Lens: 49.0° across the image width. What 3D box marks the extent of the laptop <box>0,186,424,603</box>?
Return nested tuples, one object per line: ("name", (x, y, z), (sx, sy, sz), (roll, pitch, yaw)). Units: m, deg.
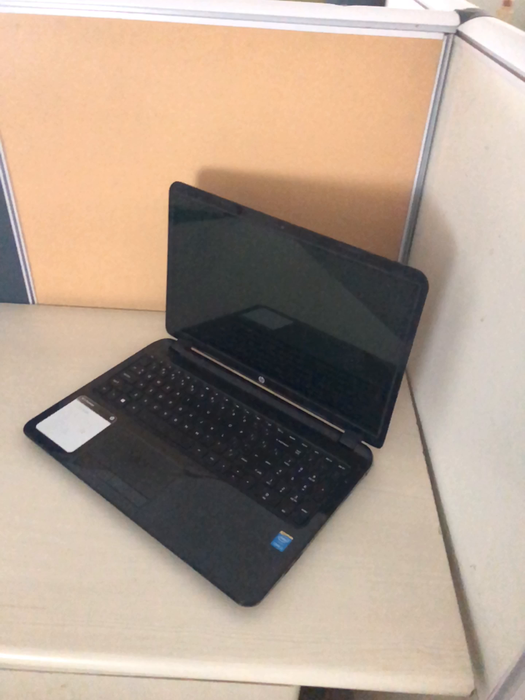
("laptop", (-0.065, 0.015, 0.642), (0.351, 0.225, 0.266), (27, 45, 28))
